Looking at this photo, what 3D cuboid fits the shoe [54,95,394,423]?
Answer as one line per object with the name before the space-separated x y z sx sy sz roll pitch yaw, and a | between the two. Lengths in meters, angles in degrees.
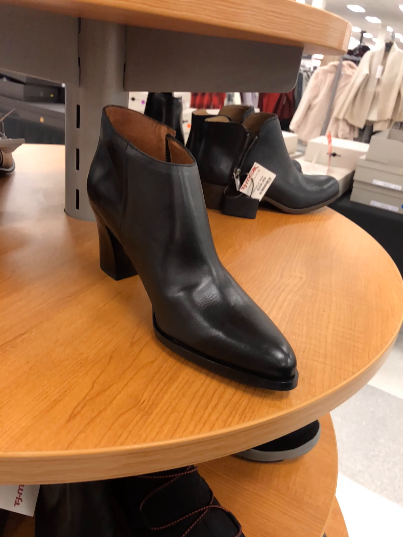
shoe | -0.012 -0.035 0.362 0.101 0.156 0.258 -16 35 -41
